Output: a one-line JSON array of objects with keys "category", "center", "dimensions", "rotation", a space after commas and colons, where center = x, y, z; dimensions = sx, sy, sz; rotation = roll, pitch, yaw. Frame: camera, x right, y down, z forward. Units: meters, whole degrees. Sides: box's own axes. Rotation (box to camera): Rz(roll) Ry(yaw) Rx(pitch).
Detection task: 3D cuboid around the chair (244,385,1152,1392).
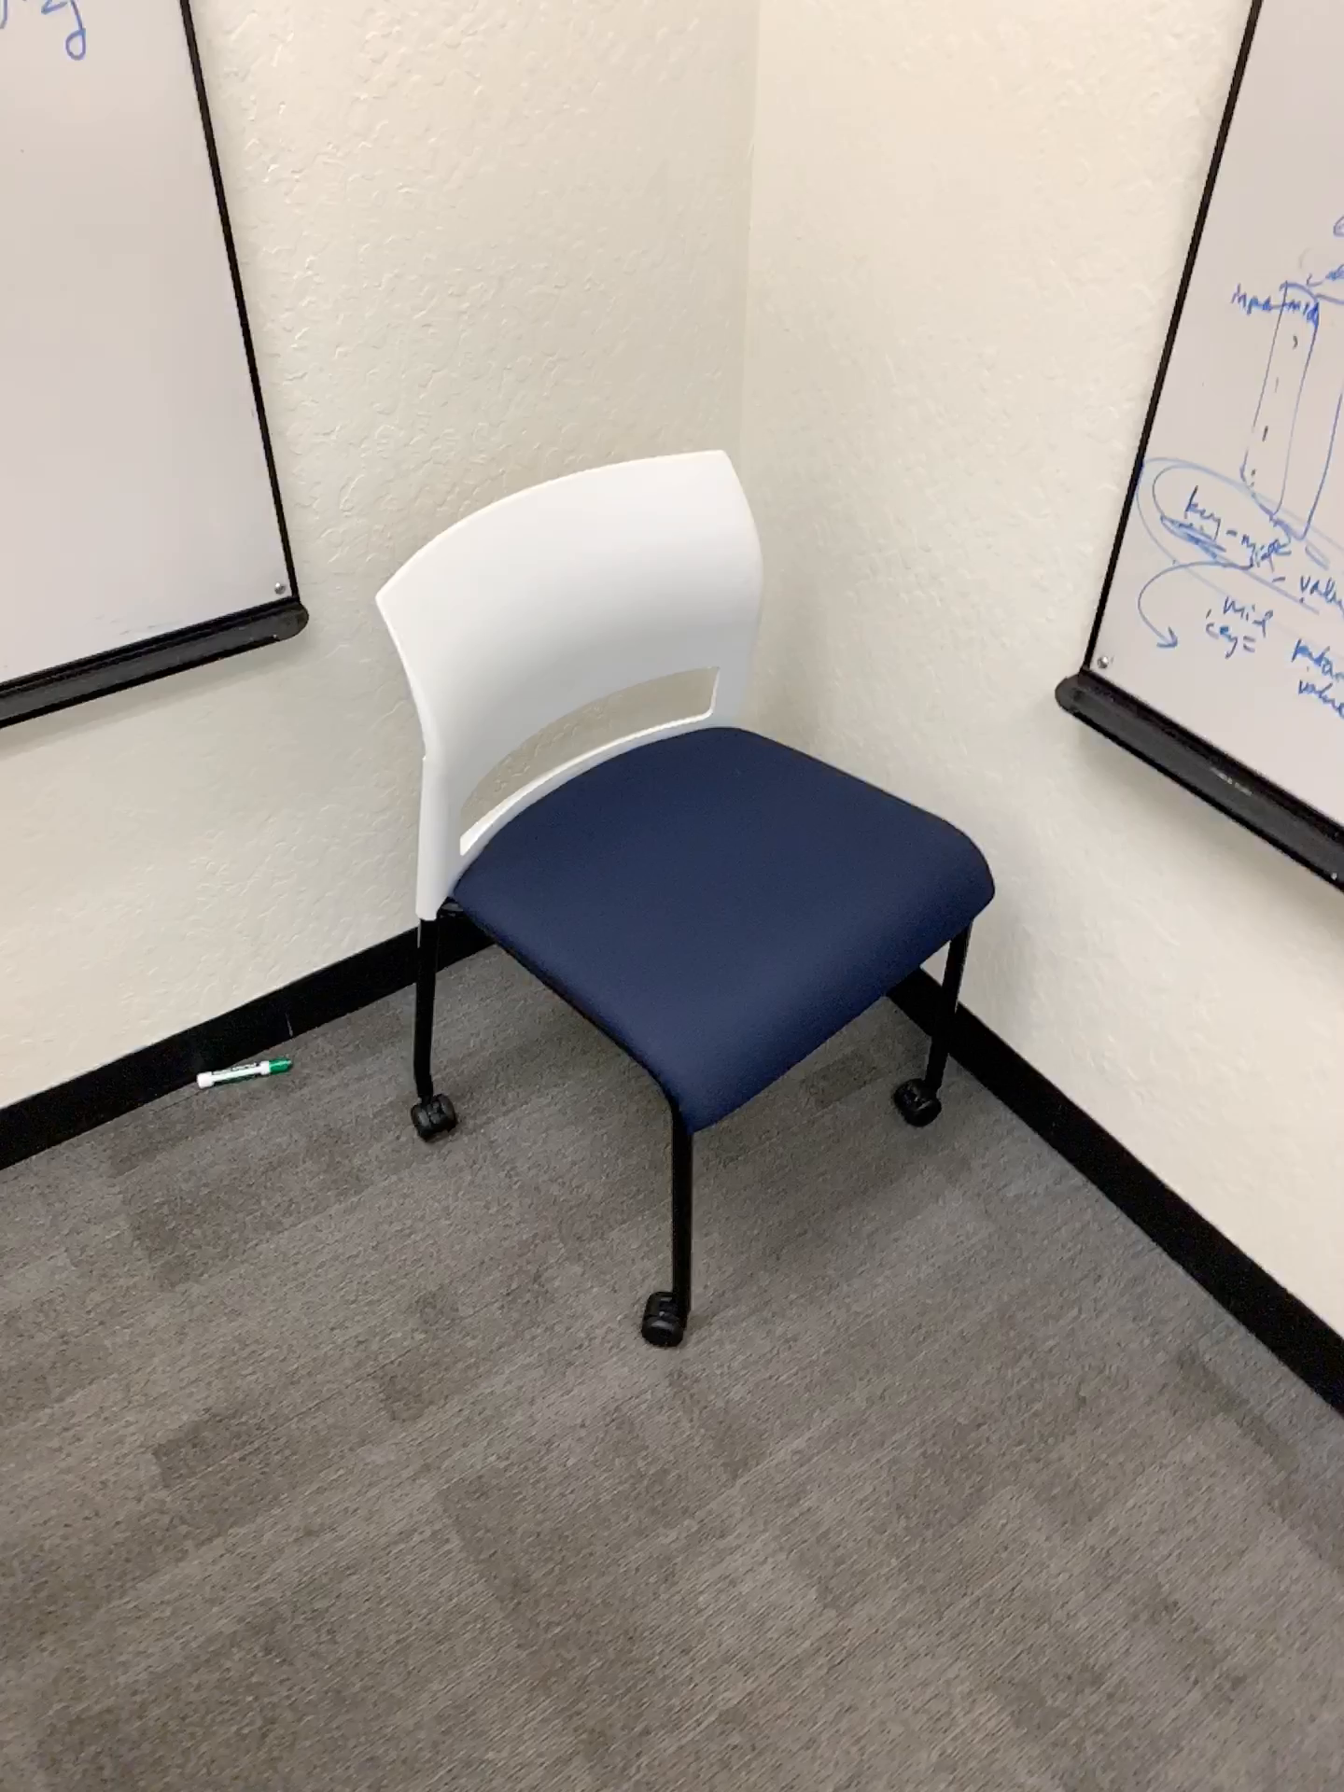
[{"category": "chair", "center": [0.024, -0.034, 1.714], "dimensions": [0.702, 0.835, 0.642], "rotation": [-33, 52, -31]}]
